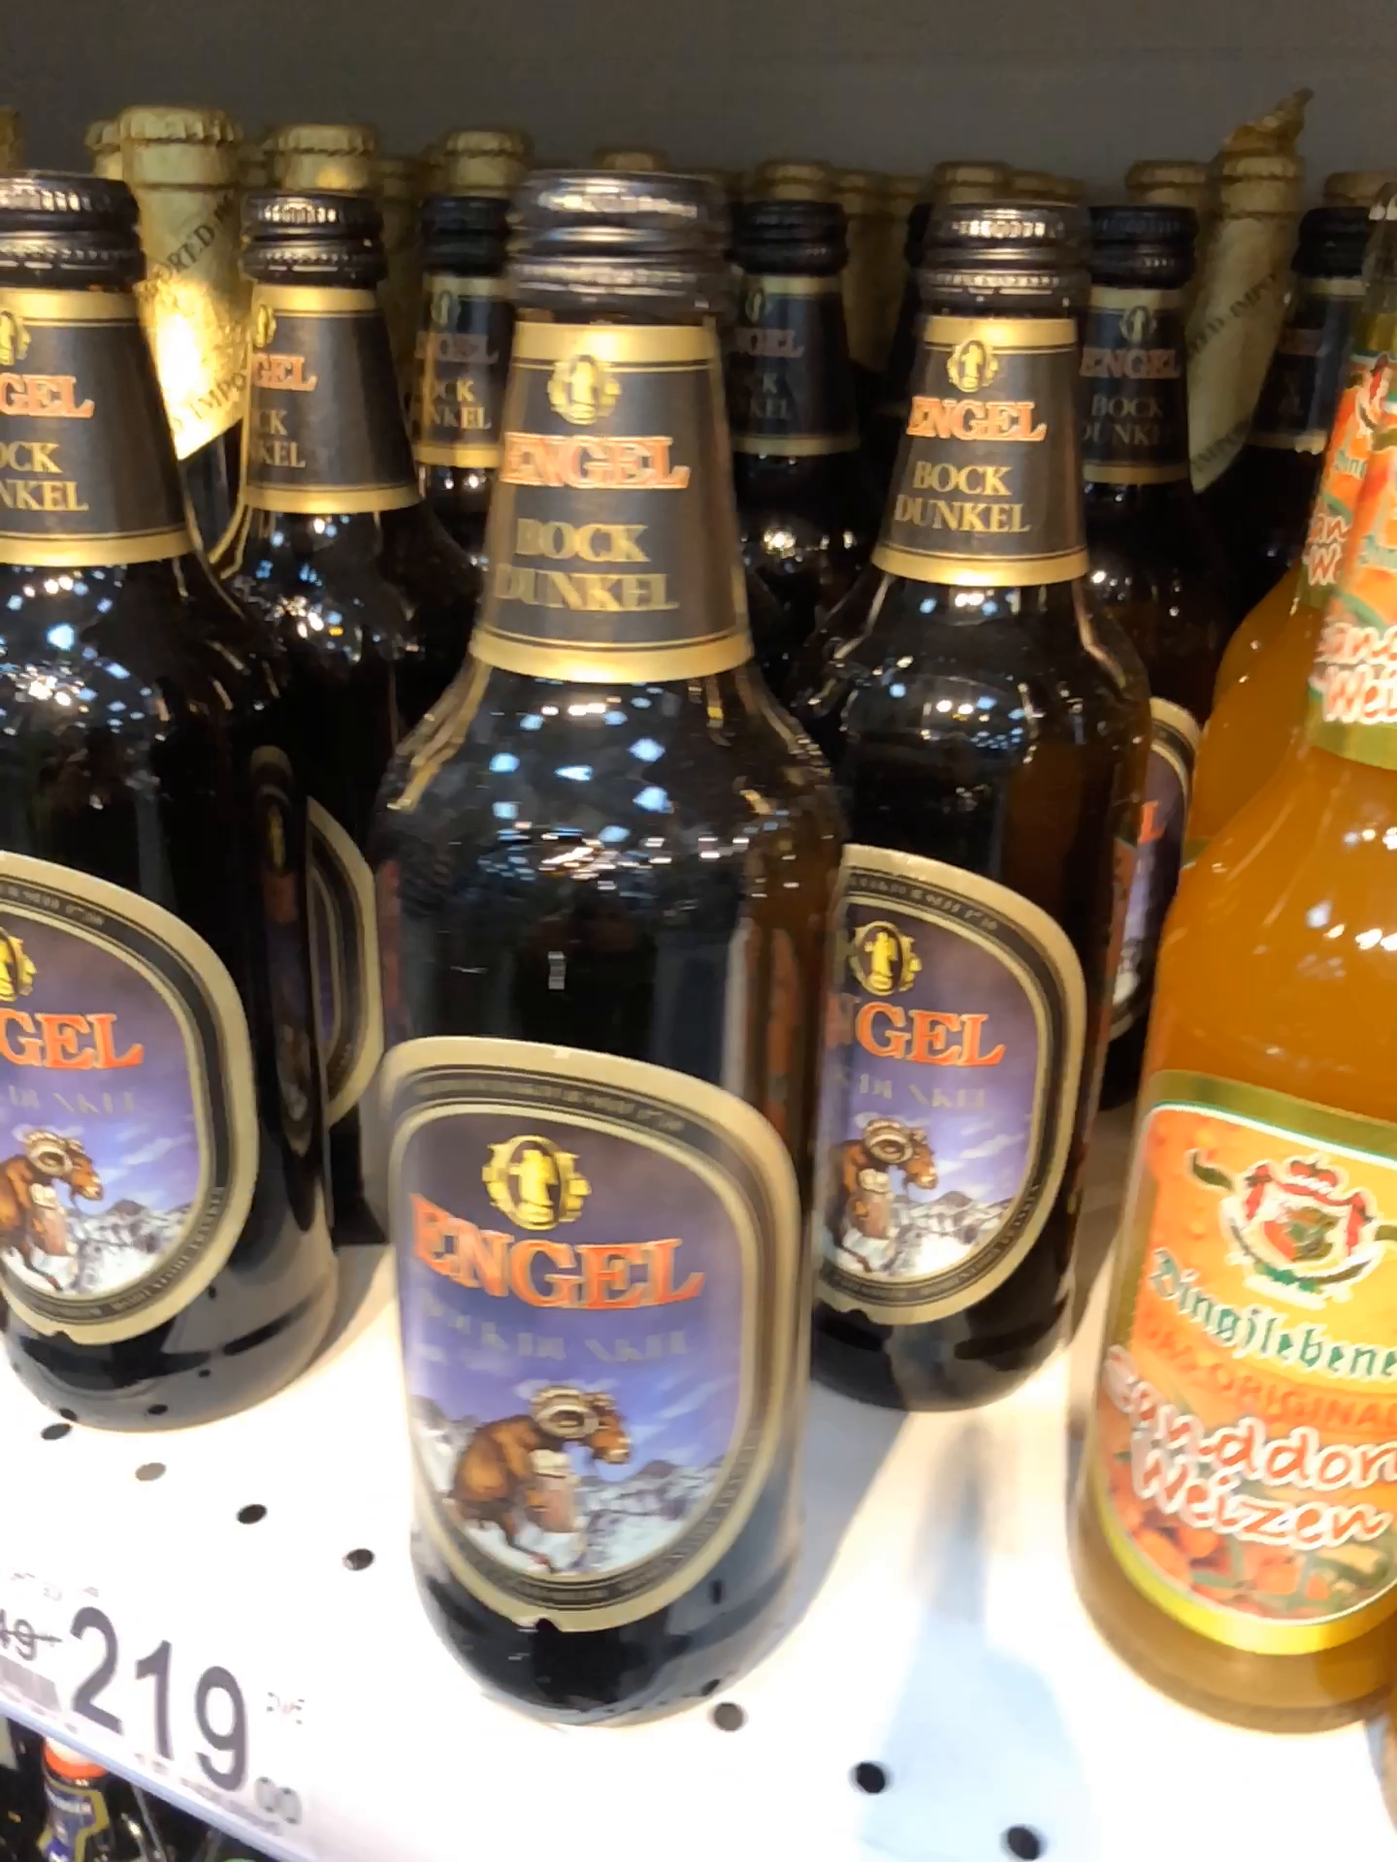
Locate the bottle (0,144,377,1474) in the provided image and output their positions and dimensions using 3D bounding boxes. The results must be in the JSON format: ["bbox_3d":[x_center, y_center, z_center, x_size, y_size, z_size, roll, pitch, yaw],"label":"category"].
[{"bbox_3d":[-0.114,-0.017,0.296,0.070,0.233,0.061,10,25,18],"label":"bottle"}]

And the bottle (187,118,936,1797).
[{"bbox_3d":[-0.016,0.011,0.230,0.070,0.229,0.061,10,25,17],"label":"bottle"}]

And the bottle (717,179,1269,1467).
[{"bbox_3d":[0.053,-0.018,0.309,0.069,0.233,0.070,1,23,-1],"label":"bottle"}]
